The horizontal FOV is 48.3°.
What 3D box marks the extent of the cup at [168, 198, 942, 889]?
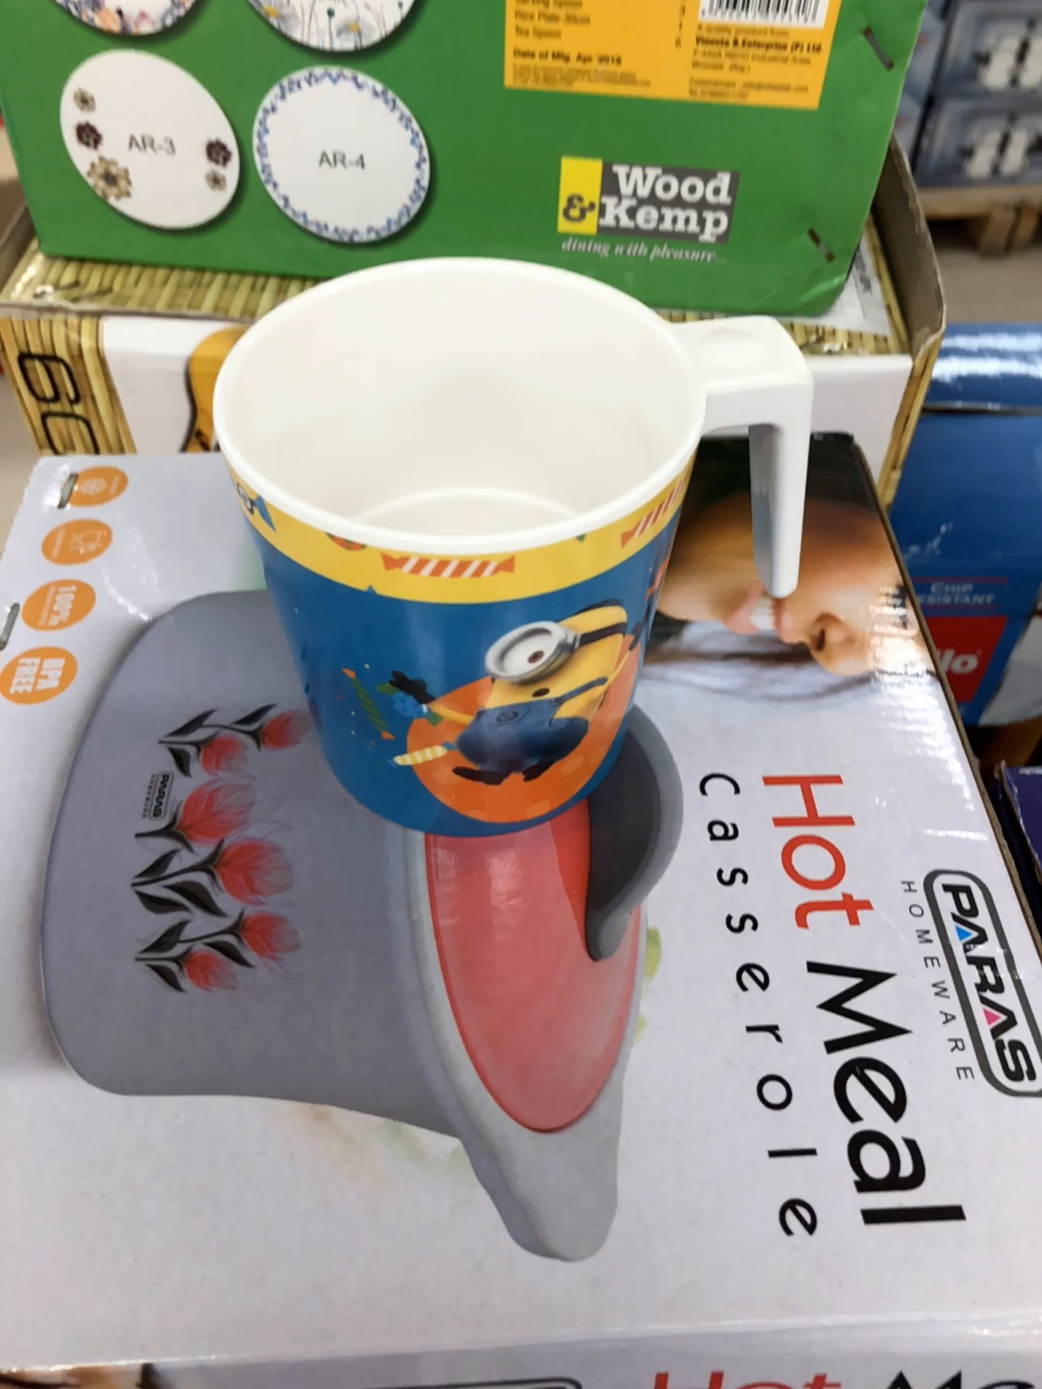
[{"bbox_3d":[0.001,-0.031,0.226,0.110,0.079,0.080,-14,50,-12],"label":"cup"}]
